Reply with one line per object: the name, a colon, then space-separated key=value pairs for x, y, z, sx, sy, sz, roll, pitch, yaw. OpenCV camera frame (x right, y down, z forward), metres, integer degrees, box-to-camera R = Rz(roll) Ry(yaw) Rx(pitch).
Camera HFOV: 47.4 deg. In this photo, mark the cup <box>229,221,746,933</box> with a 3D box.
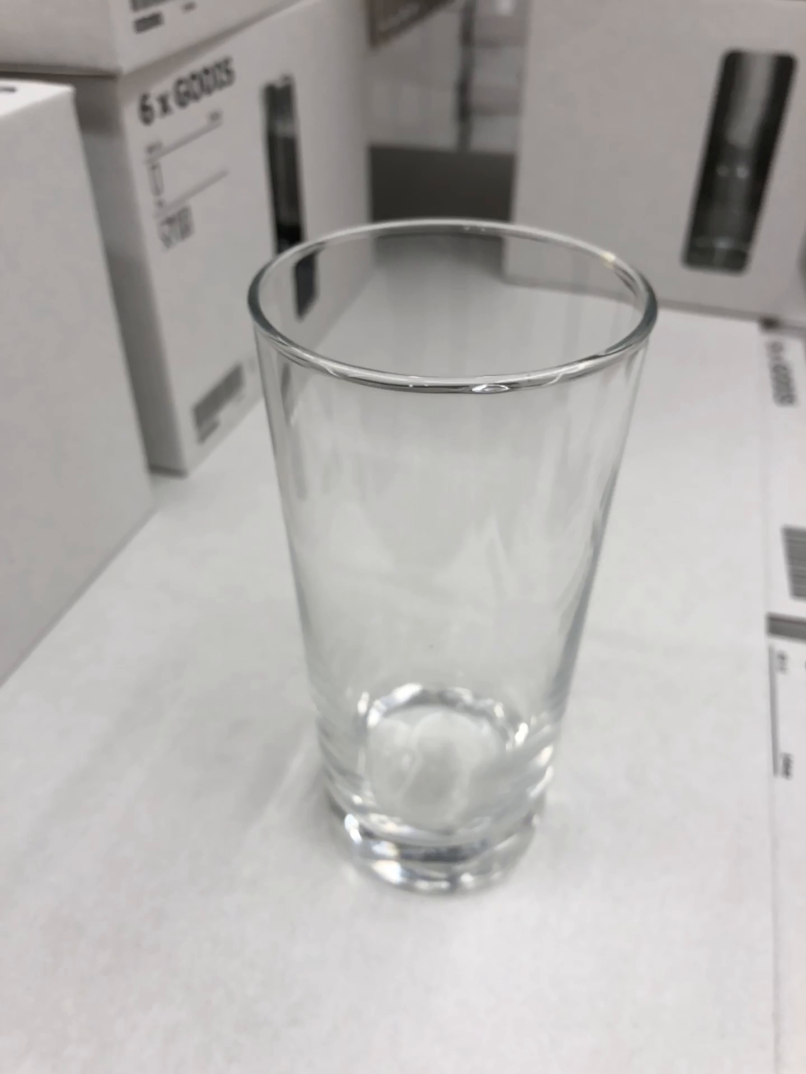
cup: x=0.008 y=0.012 z=0.213 sx=0.080 sy=0.139 sz=0.080 roll=0 pitch=37 yaw=0
